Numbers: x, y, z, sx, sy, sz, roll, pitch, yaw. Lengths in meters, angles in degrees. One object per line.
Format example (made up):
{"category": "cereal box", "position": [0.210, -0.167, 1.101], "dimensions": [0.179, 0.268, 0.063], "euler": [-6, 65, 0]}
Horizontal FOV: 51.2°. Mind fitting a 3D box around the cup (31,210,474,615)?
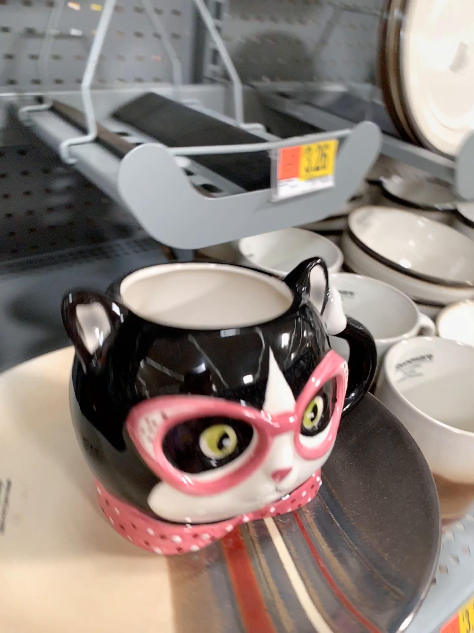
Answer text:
{"category": "cup", "position": [0.009, 0.019, 0.192], "dimensions": [0.144, 0.074, 0.096], "euler": [-12, 38, -26]}
